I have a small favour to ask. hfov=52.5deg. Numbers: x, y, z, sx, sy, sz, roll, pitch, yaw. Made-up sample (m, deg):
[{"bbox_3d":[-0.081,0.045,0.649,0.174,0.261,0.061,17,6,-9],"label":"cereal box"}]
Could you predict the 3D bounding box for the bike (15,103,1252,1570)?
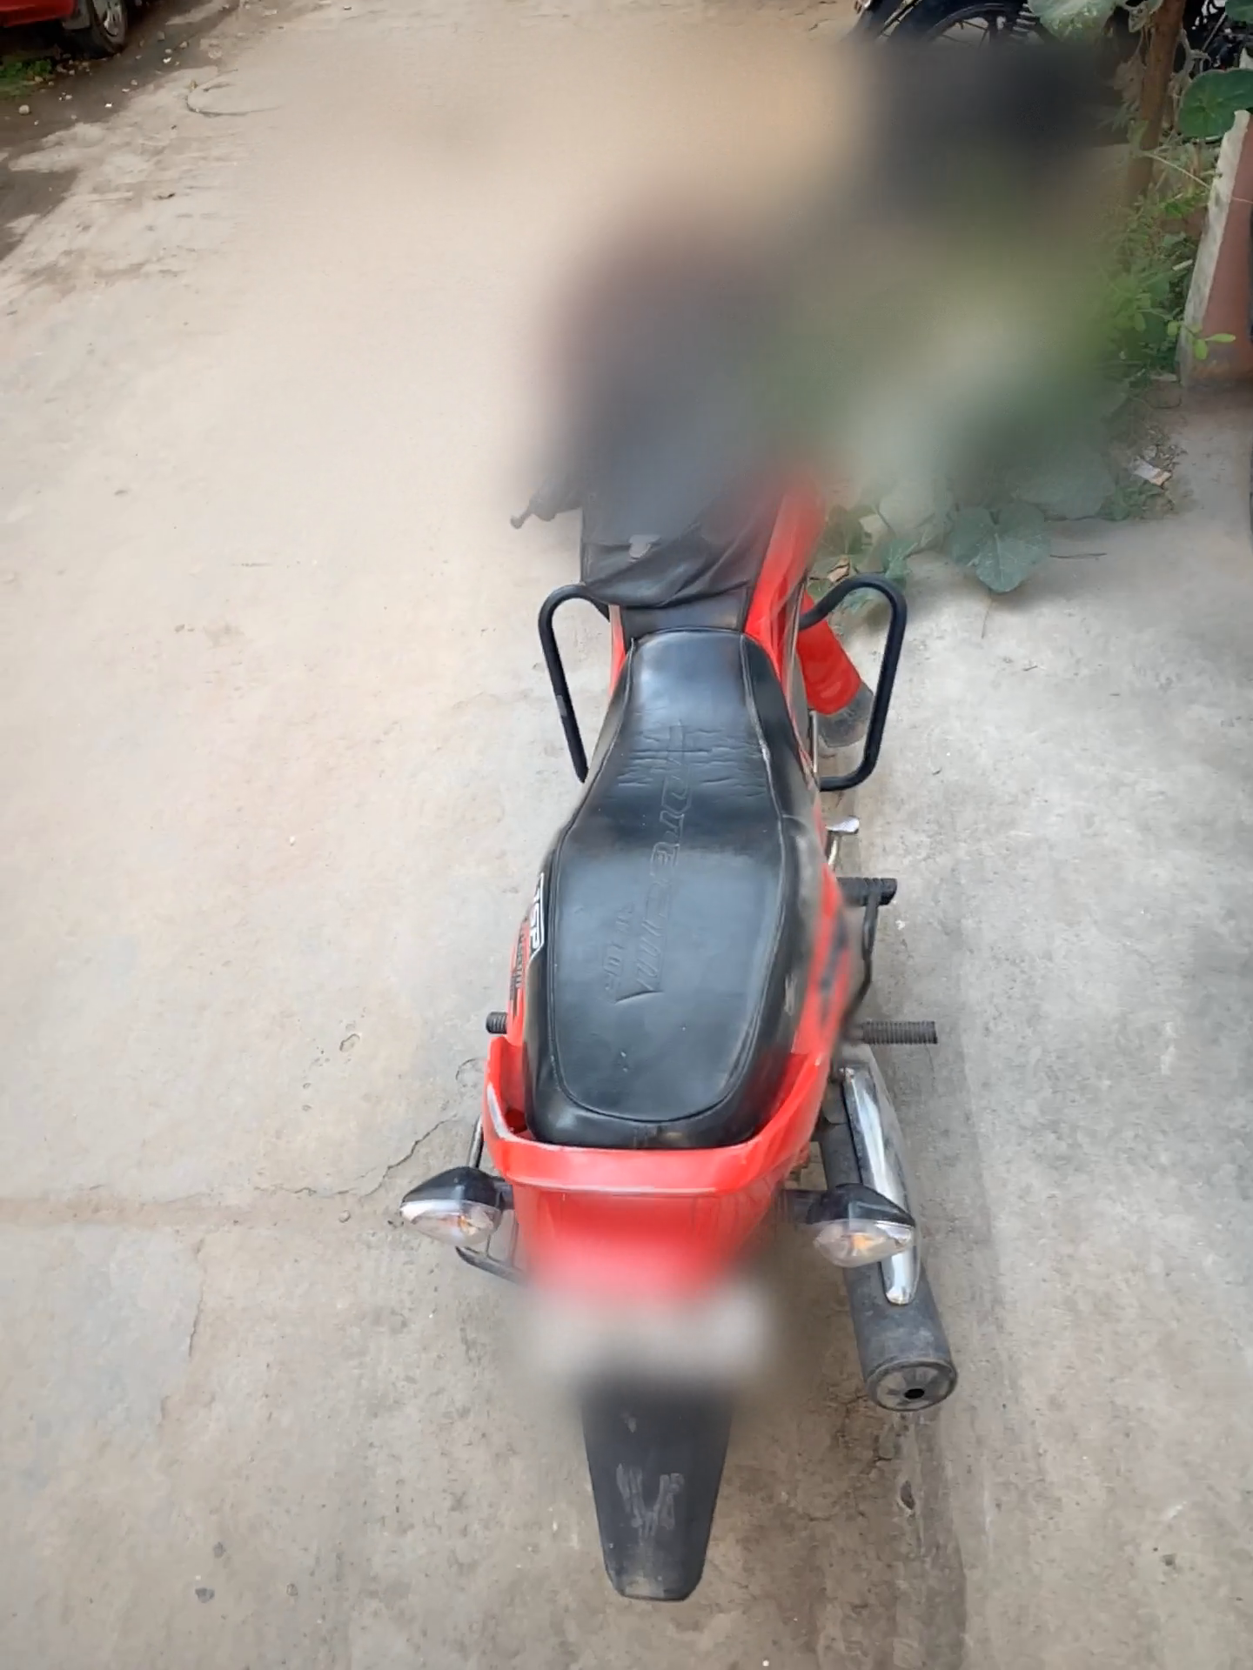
[{"bbox_3d":[0.024,-0.094,1.730,0.758,1.093,1.713,-5,47,3],"label":"bike"}]
